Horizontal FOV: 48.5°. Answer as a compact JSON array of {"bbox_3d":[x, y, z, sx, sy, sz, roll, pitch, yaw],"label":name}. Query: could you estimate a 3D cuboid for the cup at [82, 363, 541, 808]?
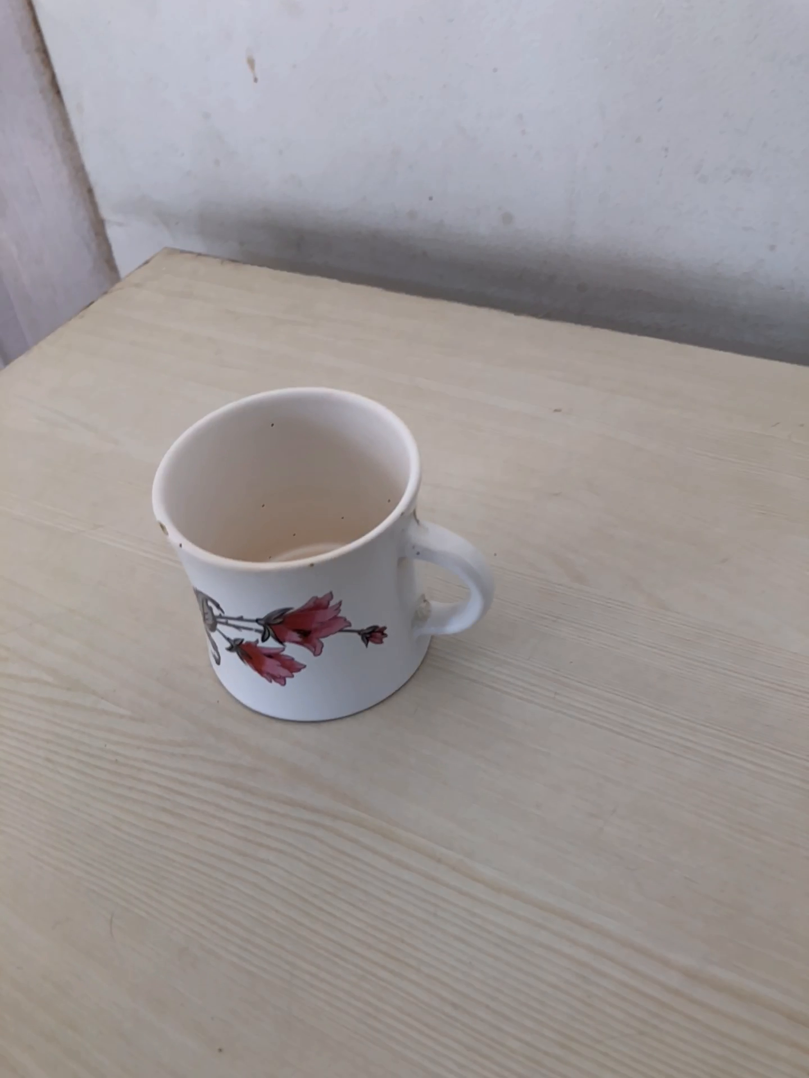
[{"bbox_3d":[-0.018,0.009,0.251,0.090,0.070,0.081,13,47,19],"label":"cup"}]
